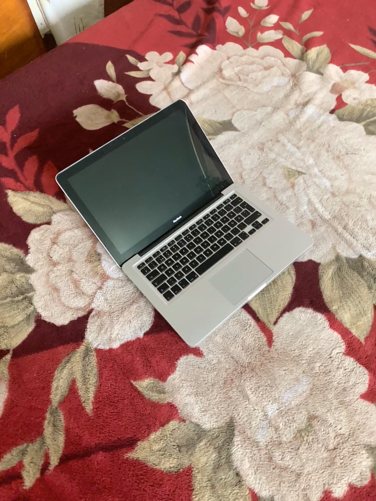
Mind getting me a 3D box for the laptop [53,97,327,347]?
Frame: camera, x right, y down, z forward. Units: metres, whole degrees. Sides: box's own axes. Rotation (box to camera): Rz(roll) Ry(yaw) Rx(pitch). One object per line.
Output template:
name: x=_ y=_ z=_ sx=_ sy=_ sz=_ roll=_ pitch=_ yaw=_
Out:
laptop: x=-0.004 y=-0.078 z=0.742 sx=0.317 sy=0.116 sz=0.388 roll=-38 pitch=65 yaw=-16
